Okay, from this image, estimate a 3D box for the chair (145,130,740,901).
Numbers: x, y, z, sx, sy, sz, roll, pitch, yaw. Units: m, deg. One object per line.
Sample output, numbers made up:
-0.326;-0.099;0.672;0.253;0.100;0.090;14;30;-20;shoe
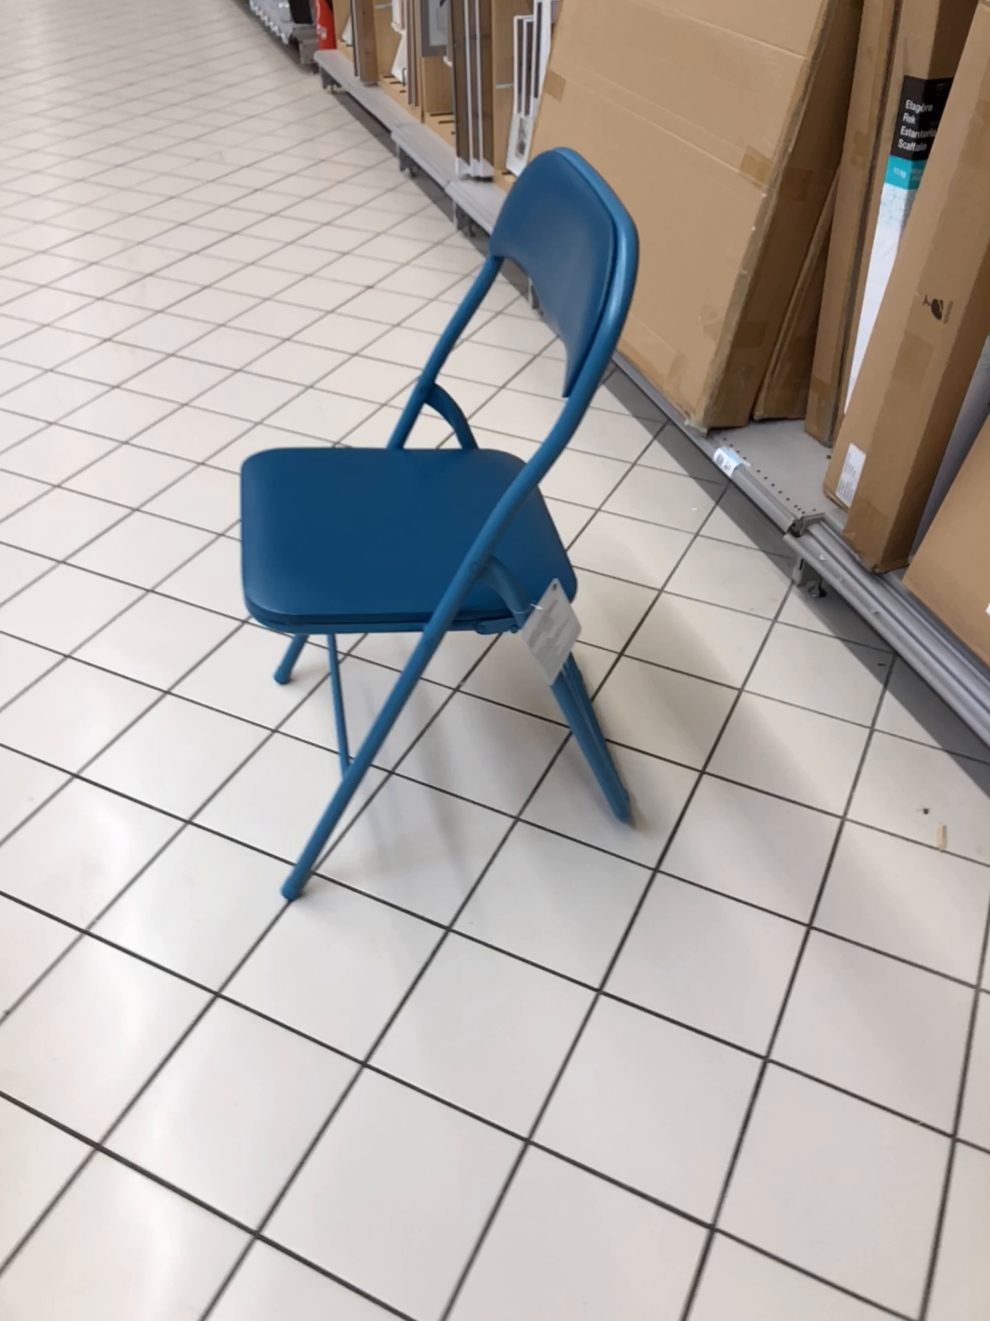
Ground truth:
-0.072;-0.175;1.339;0.500;0.765;0.503;-4;38;-6;chair
